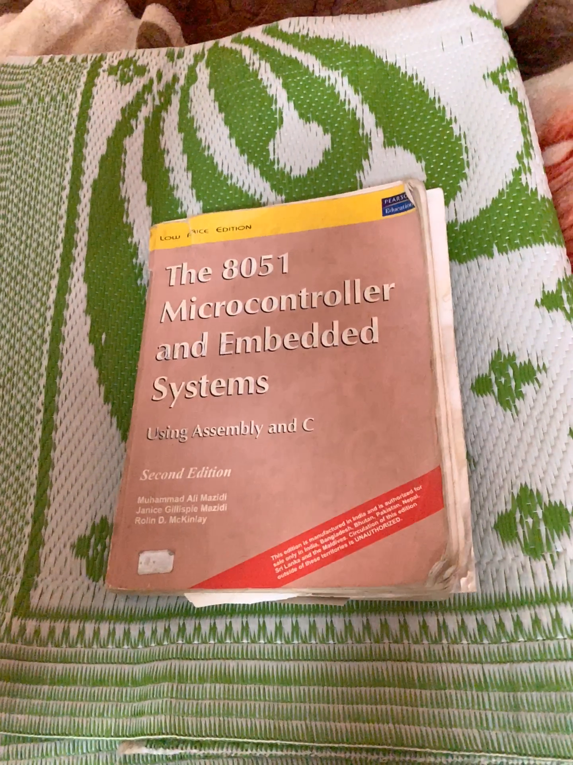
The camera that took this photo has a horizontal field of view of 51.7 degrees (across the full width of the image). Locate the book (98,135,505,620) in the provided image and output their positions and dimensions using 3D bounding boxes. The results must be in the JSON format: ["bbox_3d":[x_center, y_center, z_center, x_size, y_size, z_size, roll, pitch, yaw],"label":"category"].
[{"bbox_3d":[0.006,-0.005,0.397,0.230,0.050,0.301,-7,67,18],"label":"book"}]
